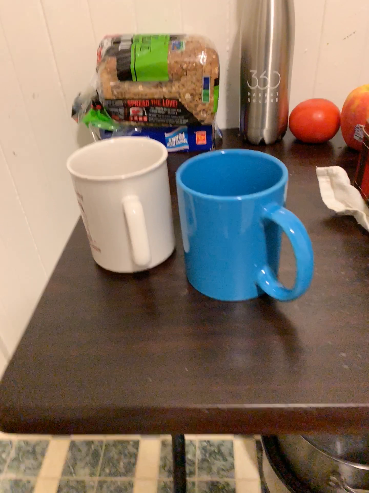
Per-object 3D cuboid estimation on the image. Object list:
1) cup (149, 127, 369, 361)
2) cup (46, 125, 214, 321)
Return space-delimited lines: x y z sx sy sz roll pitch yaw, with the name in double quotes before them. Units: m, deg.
"cup" 0.050 -0.013 0.291 0.090 0.099 0.141 -22 40 -22
"cup" -0.049 -0.029 0.332 0.090 0.099 0.131 -21 39 -20
